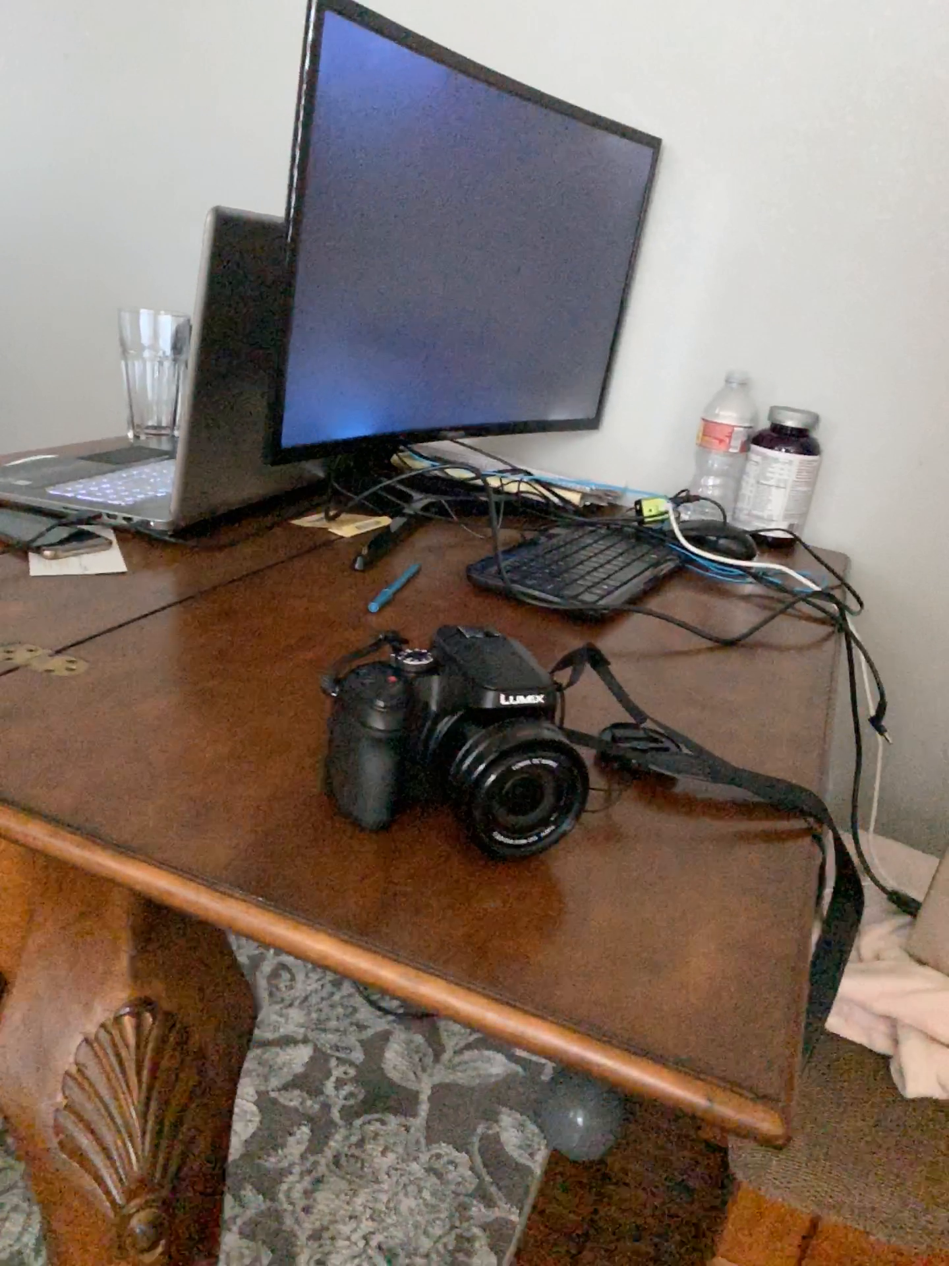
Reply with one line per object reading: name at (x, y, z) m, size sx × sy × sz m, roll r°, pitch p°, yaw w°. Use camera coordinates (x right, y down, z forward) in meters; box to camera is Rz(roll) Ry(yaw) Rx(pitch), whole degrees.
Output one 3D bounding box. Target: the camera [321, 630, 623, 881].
camera at (-0.007, 0.062, 0.556) m, size 0.130 × 0.089 × 0.111 m, roll -2°, pitch 22°, yaw -24°
